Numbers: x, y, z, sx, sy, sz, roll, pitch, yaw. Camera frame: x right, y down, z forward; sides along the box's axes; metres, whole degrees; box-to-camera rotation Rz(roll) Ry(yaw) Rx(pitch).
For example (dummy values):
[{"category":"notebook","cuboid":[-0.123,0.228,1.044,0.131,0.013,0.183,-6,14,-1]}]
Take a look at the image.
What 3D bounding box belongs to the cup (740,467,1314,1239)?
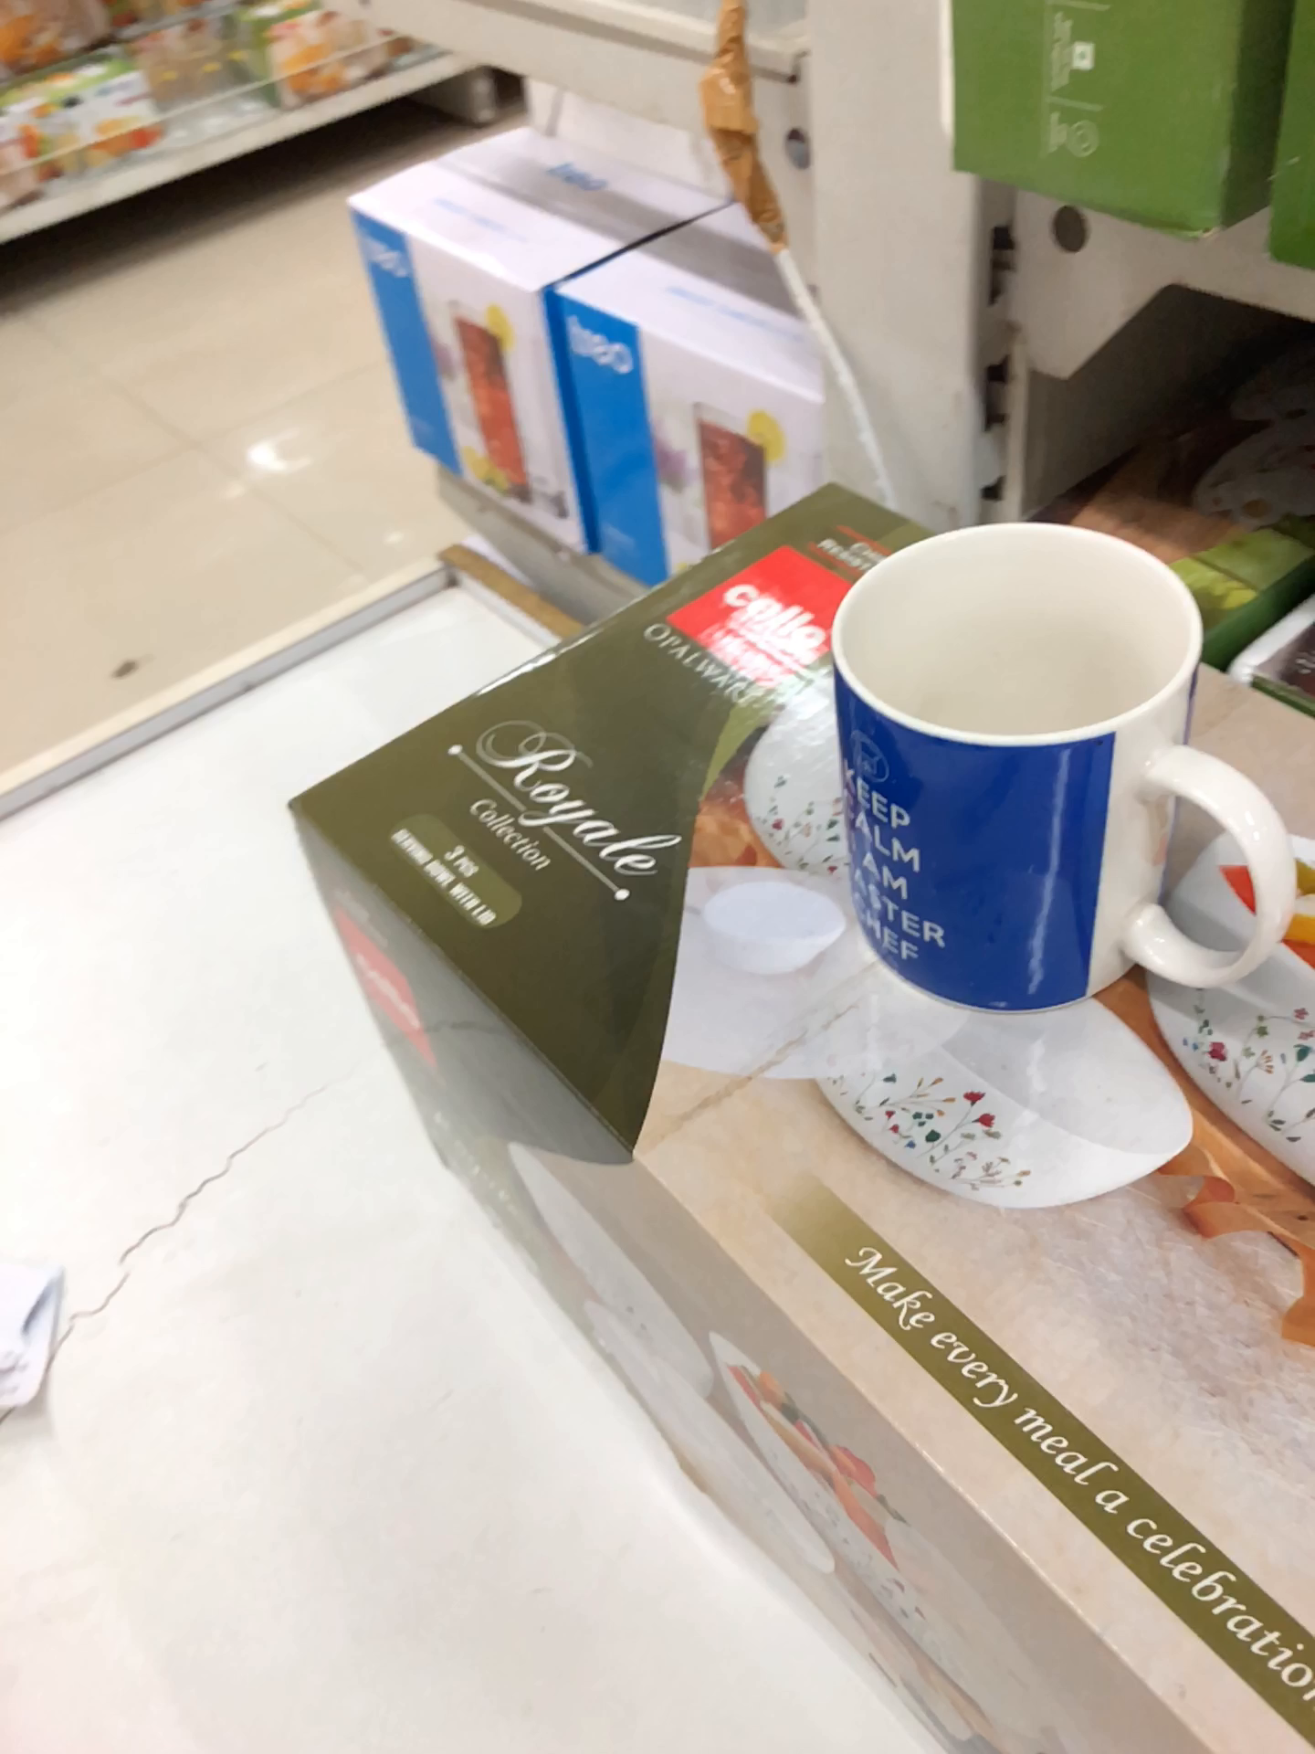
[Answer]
[{"category":"cup","cuboid":[0.112,-0.013,0.370,0.110,0.099,0.140,-32,49,-21]}]
